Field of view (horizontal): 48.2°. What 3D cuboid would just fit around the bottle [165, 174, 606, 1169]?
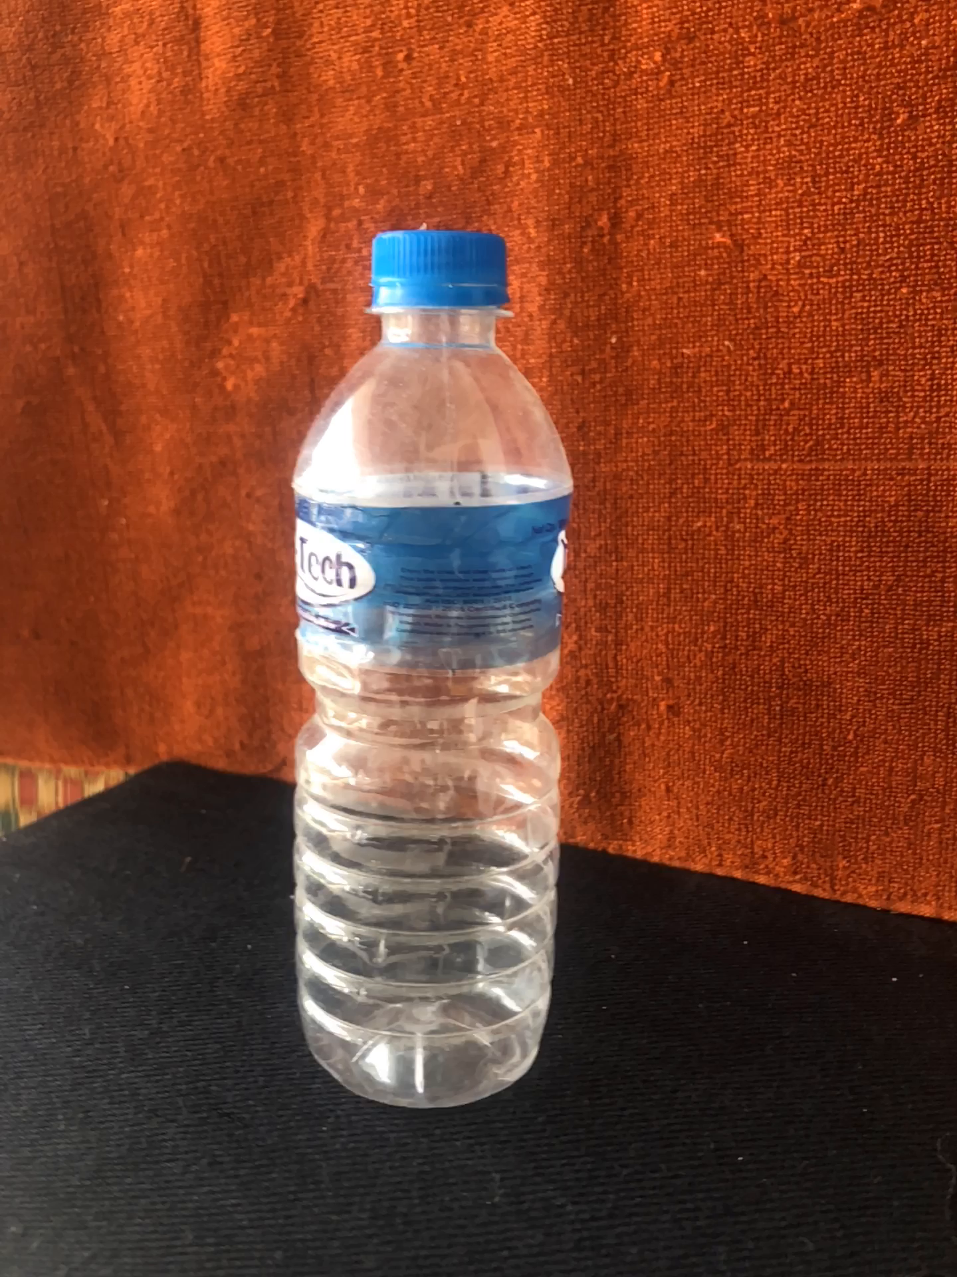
[{"bbox_3d":[-0.021,0.005,0.240,0.070,0.189,0.070,-1,15,0],"label":"bottle"}]
